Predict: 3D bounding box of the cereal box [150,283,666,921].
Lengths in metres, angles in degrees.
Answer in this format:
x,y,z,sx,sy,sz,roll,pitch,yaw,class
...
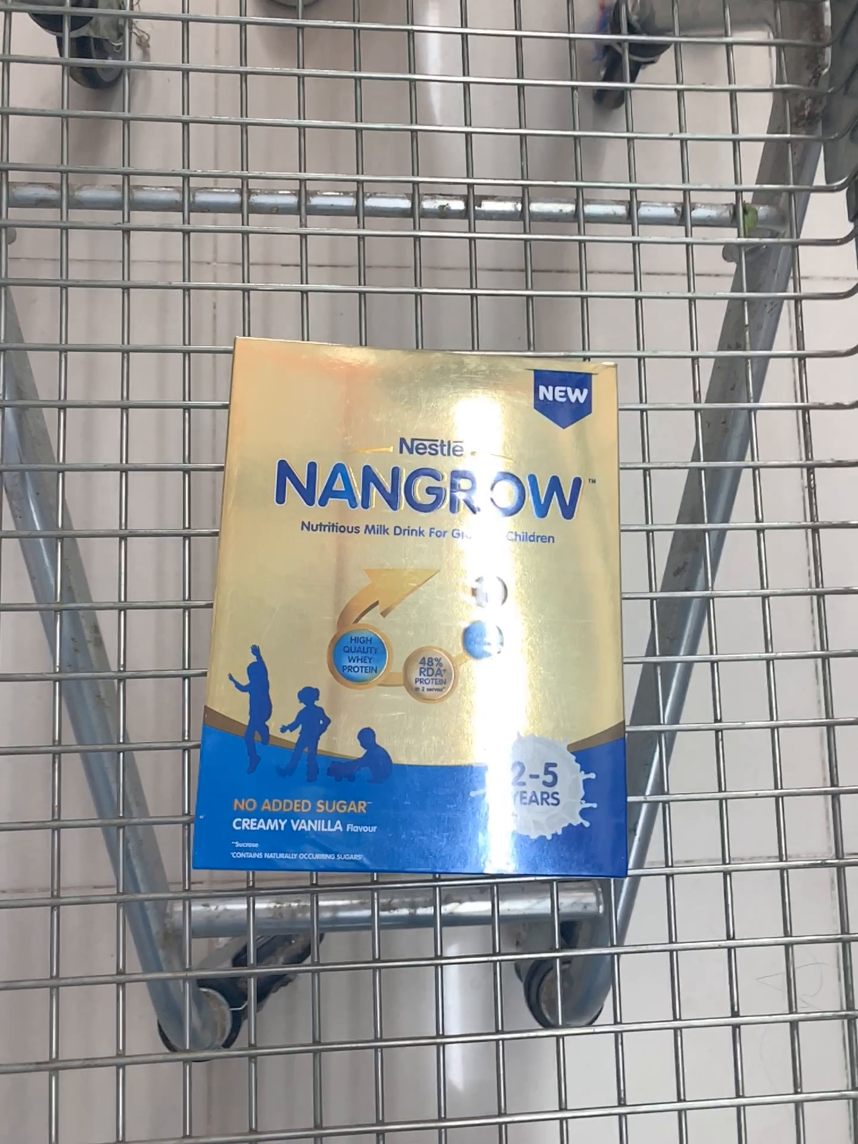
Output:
x,y,z,sx,sy,sz,roll,pitch,yaw,class
-0.004,0.011,0.303,0.150,0.060,0.190,4,83,-5,cereal box
